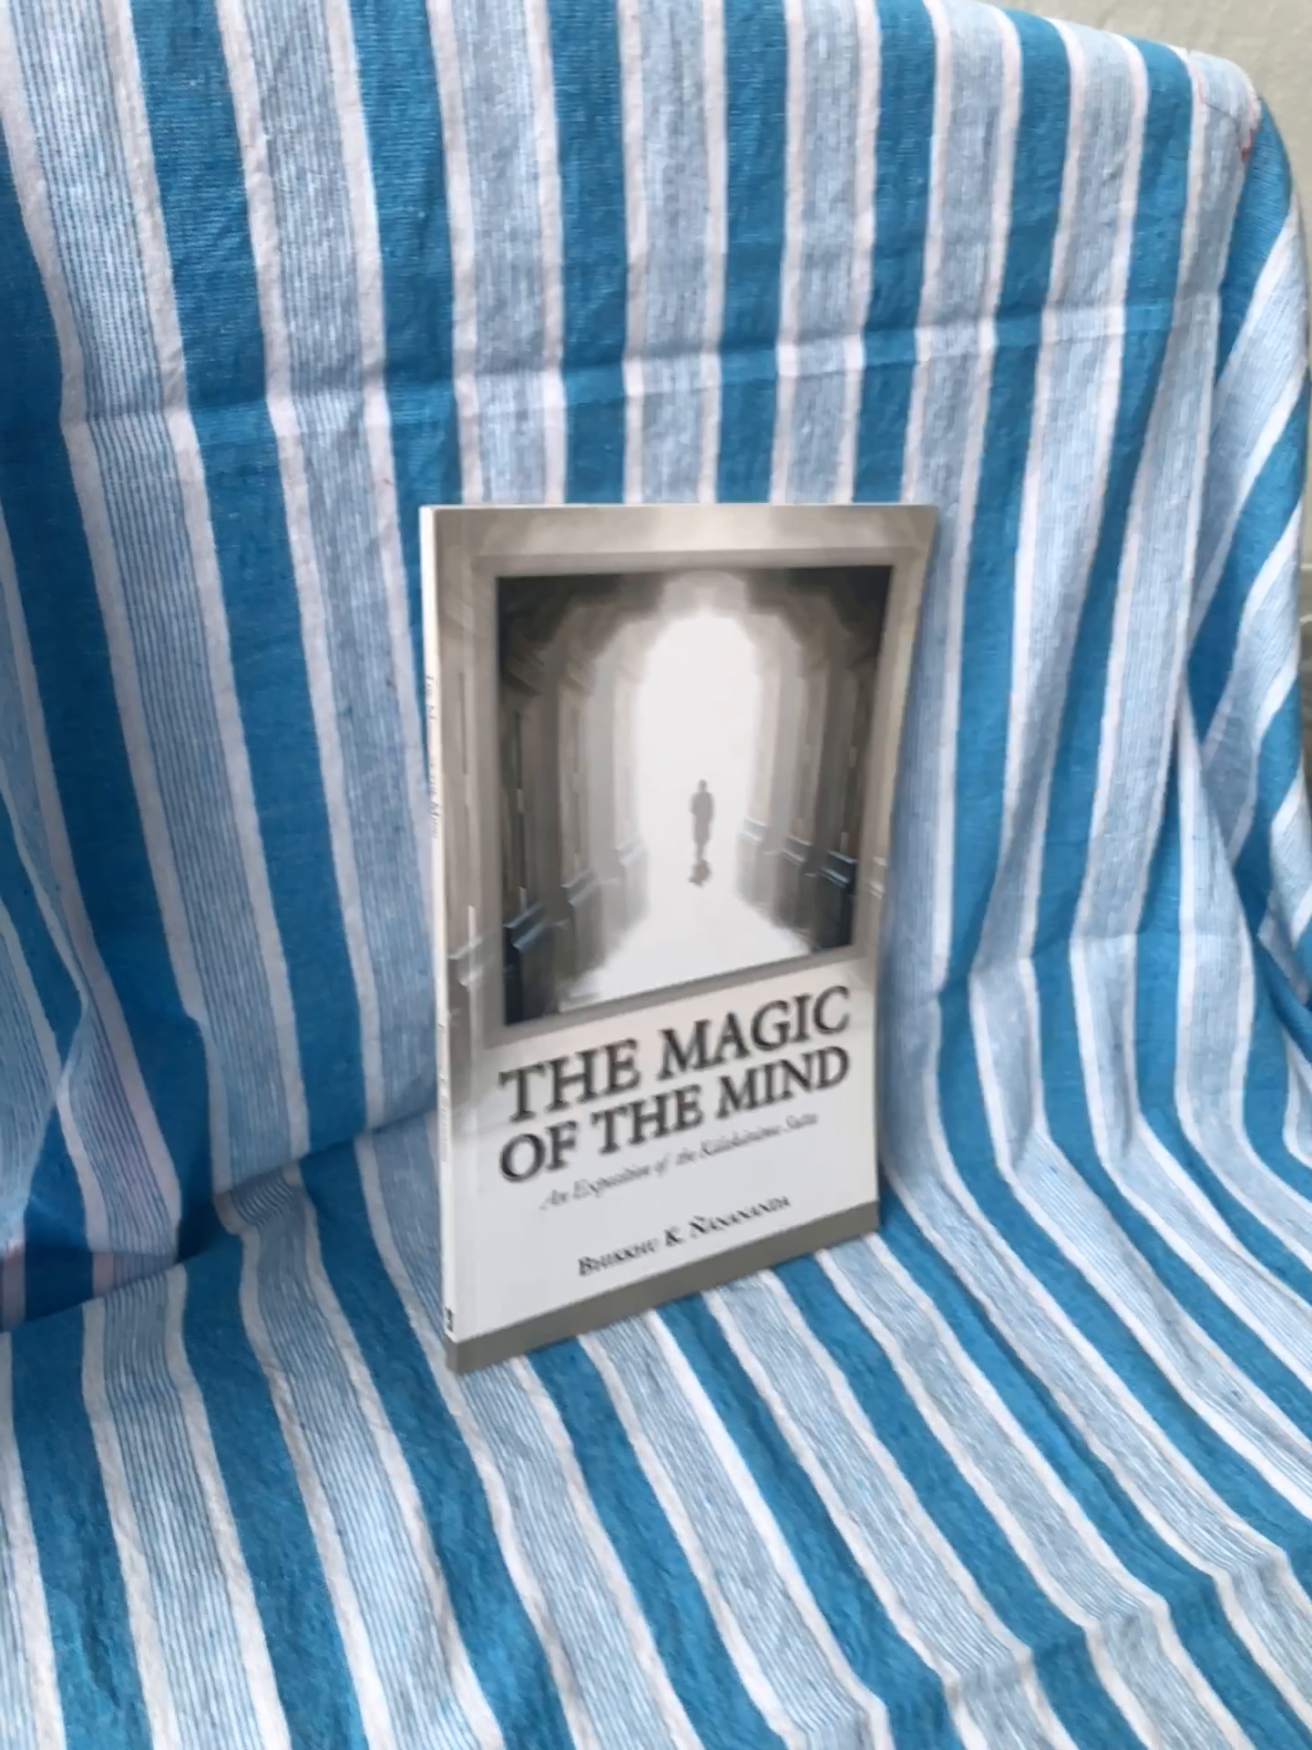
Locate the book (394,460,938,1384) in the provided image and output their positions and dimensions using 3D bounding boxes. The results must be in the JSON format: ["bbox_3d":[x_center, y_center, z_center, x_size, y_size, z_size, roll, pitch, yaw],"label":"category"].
[{"bbox_3d":[0.009,0.008,0.378,0.150,0.219,0.010,-9,16,-32],"label":"book"}]
